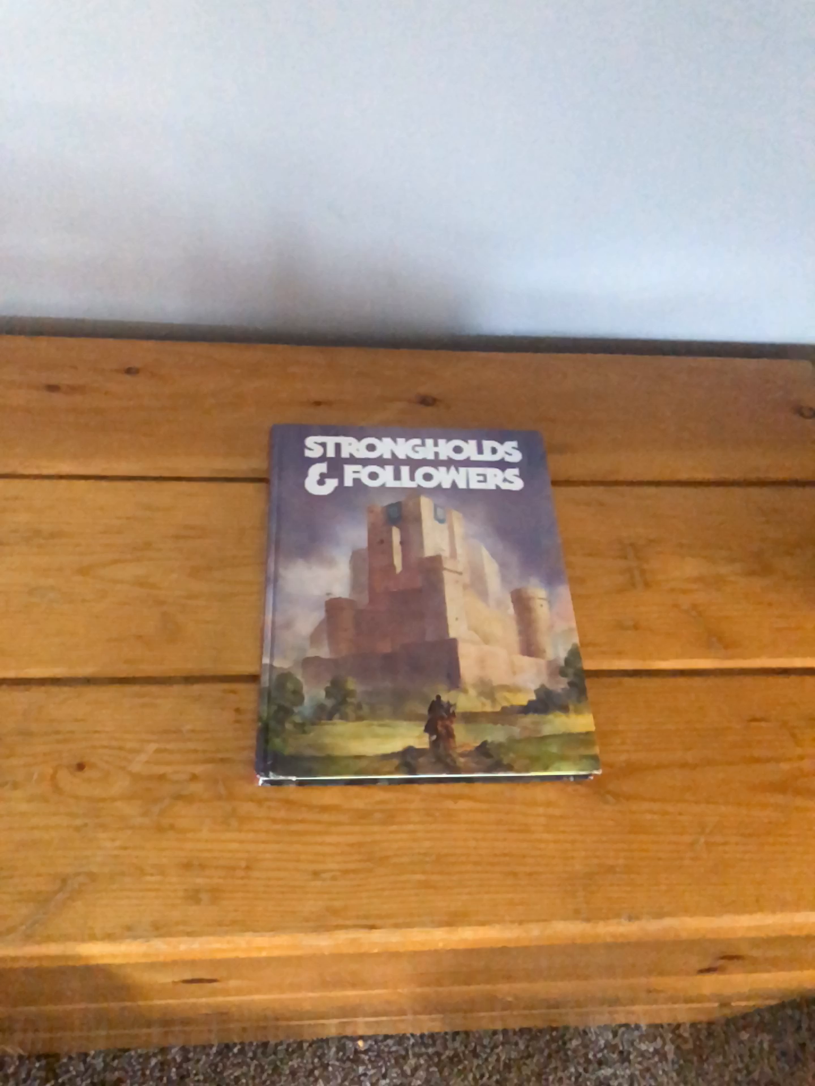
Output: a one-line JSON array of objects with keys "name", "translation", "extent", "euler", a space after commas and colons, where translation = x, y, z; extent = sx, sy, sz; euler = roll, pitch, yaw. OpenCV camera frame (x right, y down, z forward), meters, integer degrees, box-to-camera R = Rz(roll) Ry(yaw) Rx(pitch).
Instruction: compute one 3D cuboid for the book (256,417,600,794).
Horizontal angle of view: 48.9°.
[{"name": "book", "translation": [0.007, 0.033, 0.645], "extent": [0.212, 0.042, 0.281], "euler": [1, 57, -6]}]
